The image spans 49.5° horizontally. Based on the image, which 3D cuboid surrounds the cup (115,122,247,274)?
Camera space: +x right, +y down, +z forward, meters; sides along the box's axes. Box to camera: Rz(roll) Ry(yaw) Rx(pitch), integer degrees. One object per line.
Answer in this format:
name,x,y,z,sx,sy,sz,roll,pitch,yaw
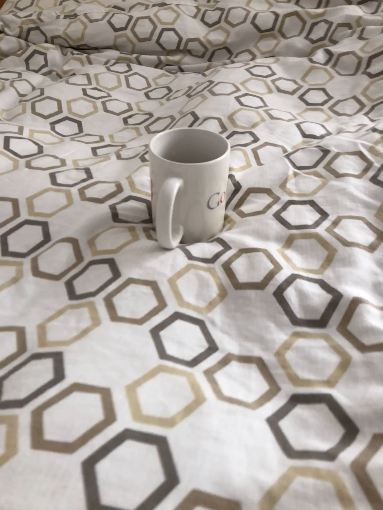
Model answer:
cup,-0.005,-0.064,0.427,0.087,0.087,0.126,14,44,15
